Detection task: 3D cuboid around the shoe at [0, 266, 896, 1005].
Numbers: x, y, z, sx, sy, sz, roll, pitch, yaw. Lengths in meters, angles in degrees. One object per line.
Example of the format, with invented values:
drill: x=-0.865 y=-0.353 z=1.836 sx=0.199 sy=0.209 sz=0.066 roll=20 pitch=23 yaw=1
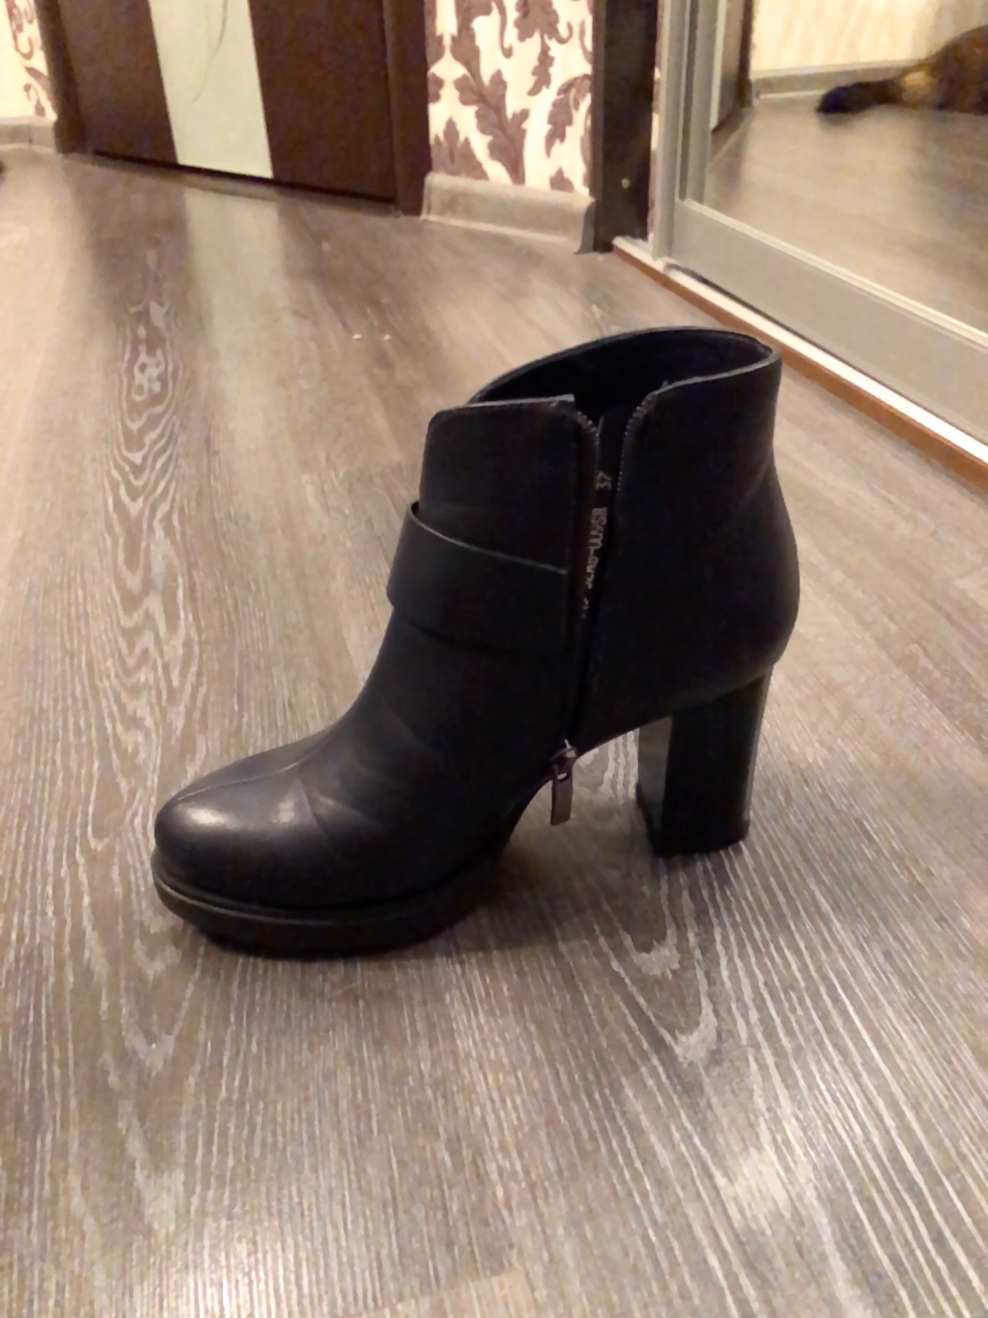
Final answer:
shoe: x=-0.013 y=-0.011 z=0.364 sx=0.240 sy=0.189 sz=0.091 roll=-10 pitch=33 yaw=-12
